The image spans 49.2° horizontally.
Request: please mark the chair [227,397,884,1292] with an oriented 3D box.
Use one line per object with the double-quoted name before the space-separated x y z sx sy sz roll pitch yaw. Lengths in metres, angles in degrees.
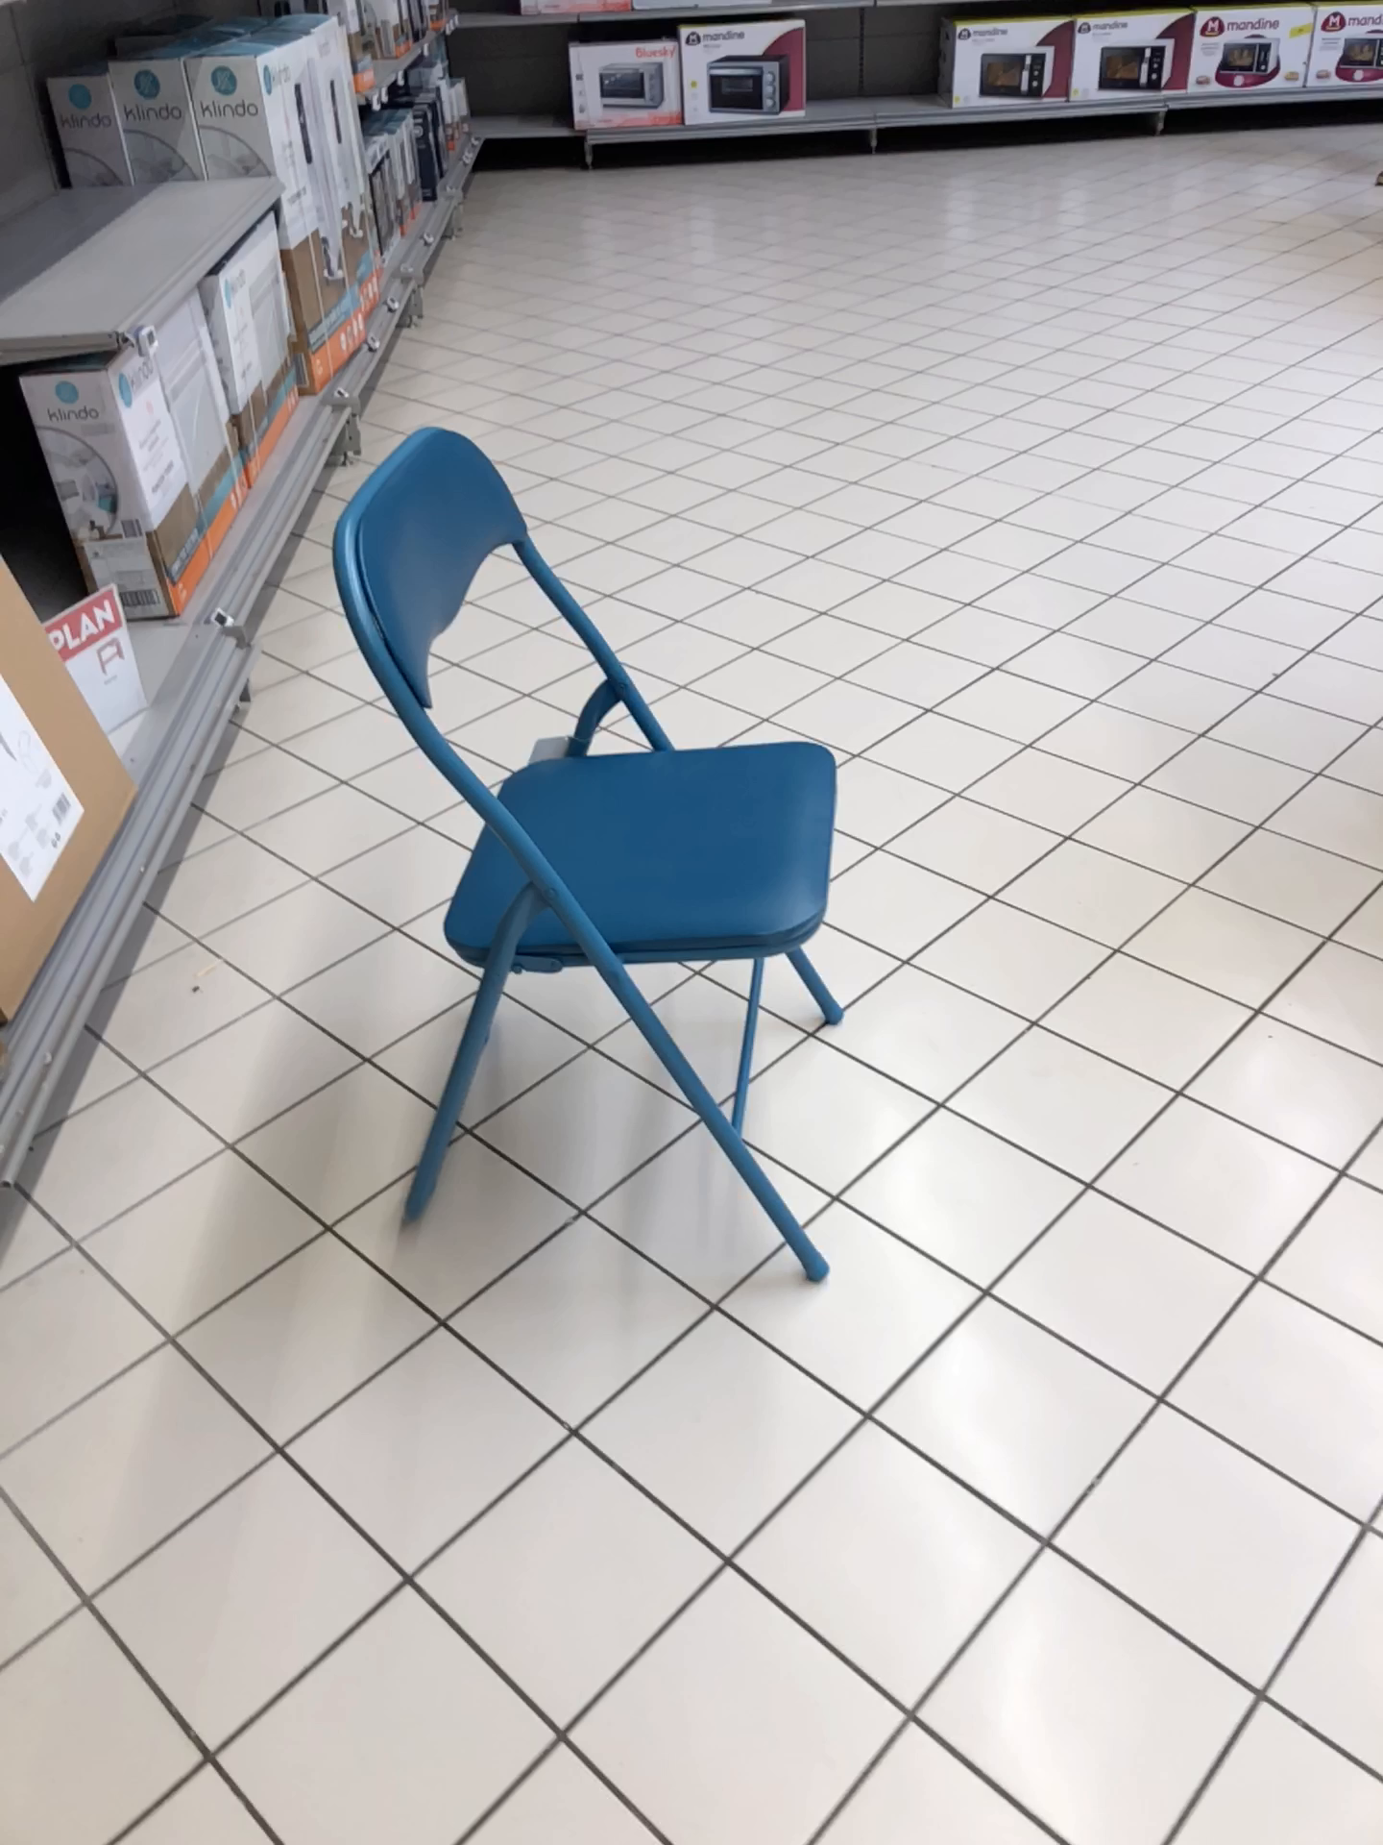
"chair" -0.068 -0.087 1.584 0.500 0.765 0.503 2 35 8
